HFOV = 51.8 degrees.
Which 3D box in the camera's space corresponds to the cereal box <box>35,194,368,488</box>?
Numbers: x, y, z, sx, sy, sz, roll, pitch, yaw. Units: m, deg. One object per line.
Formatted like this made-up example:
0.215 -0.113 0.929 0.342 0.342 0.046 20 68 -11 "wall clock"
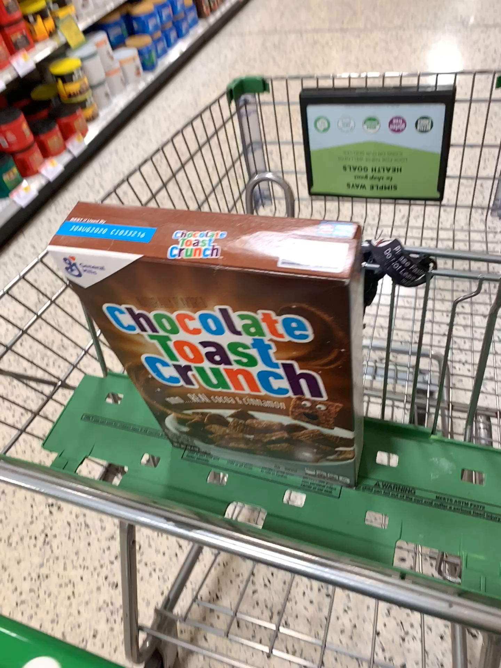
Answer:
-0.012 0.023 0.415 0.200 0.277 0.050 8 54 18 "cereal box"
